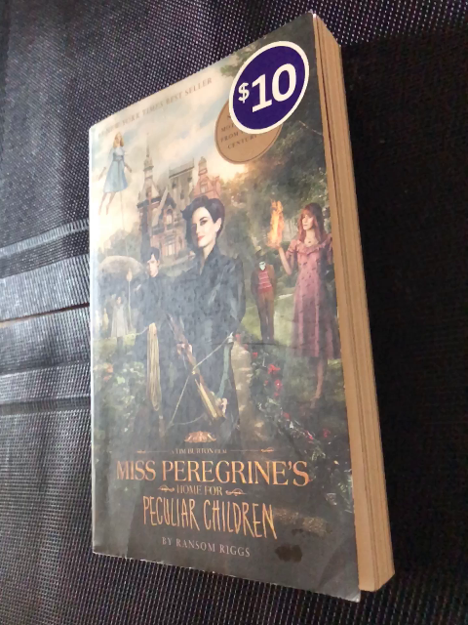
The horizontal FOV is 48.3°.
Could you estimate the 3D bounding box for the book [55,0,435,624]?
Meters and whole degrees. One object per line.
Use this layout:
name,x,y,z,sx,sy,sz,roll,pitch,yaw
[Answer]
book,-0.010,-0.003,0.242,0.161,0.050,0.230,-10,78,33
